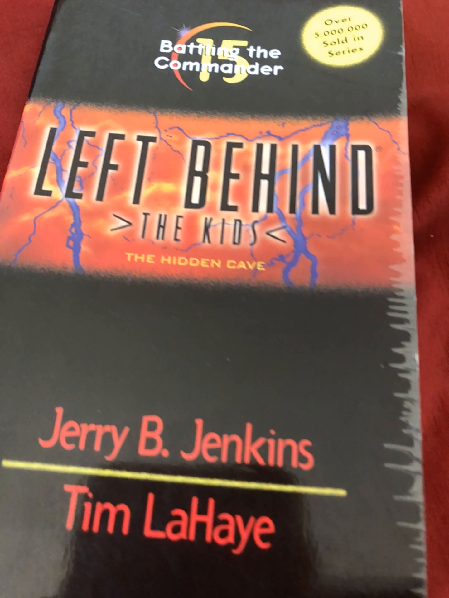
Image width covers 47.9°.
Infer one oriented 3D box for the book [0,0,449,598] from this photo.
[{"bbox_3d":[-0.007,-0.010,0.128,0.110,0.026,0.170,6,70,0],"label":"book"}]
